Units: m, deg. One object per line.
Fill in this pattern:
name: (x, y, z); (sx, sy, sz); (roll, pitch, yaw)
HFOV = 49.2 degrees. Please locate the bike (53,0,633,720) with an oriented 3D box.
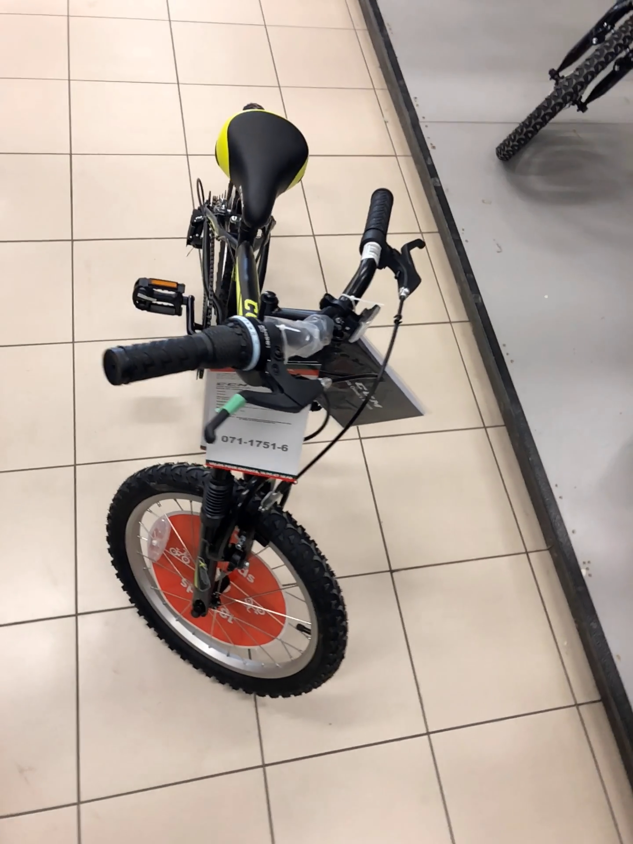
bike: (-0.061, -0.224, 1.157); (0.549, 0.862, 1.198); (-3, 61, -12)
